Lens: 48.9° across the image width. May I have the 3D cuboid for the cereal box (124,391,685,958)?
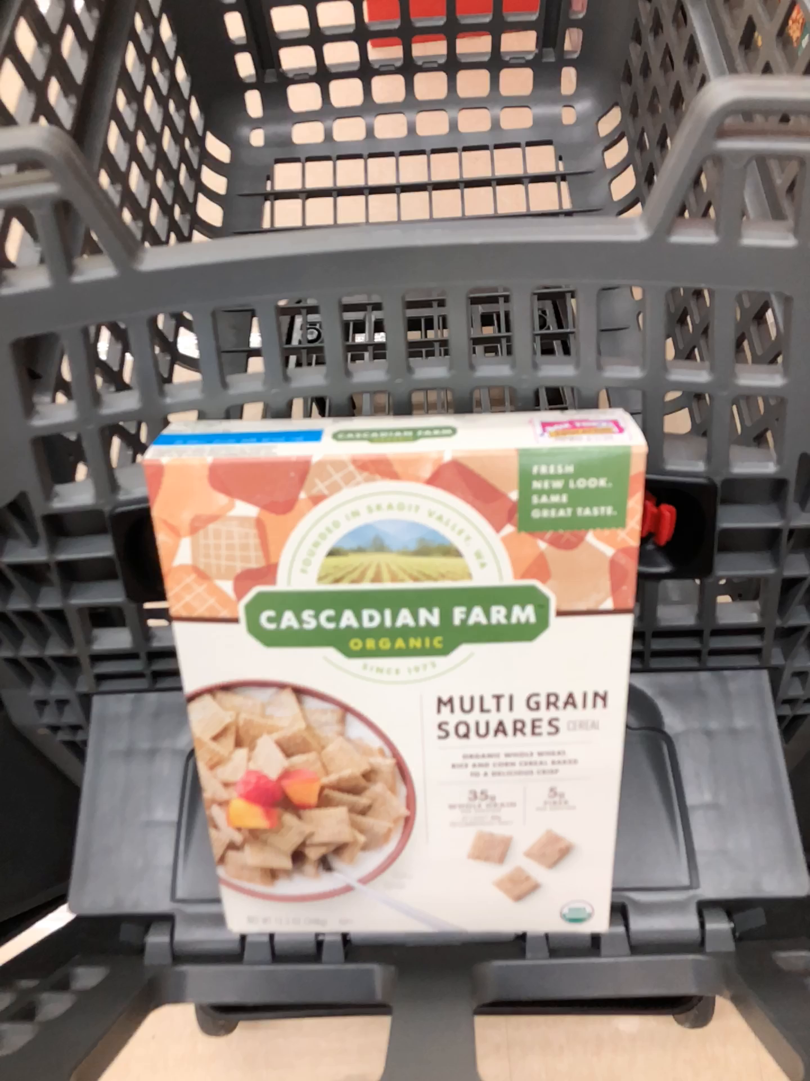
[{"bbox_3d":[0.005,0.071,0.401,0.200,0.260,0.060,-1,26,3],"label":"cereal box"}]
